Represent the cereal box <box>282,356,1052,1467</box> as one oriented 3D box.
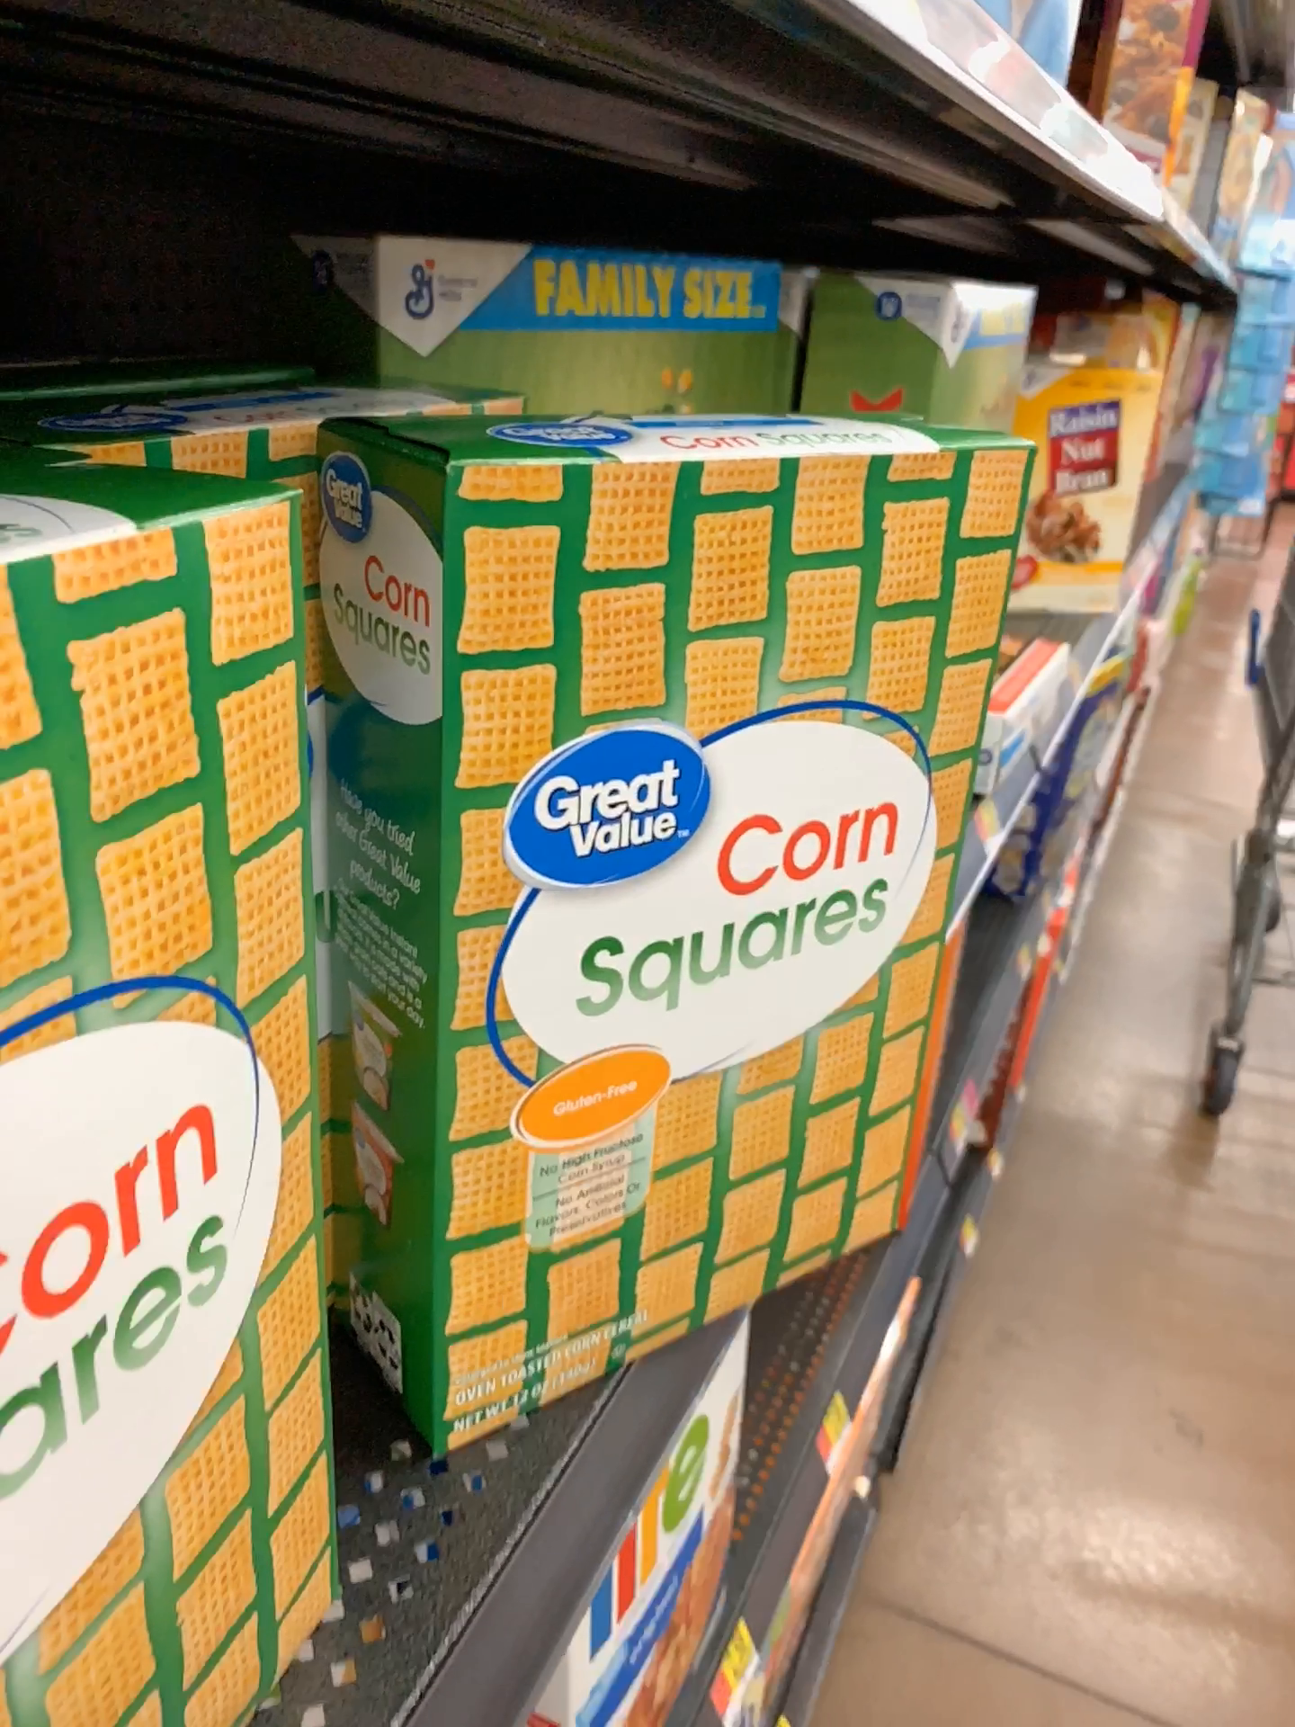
[{"bbox_3d":[0.002,0.007,0.407,0.200,0.289,0.070,-13,29,-36],"label":"cereal box"}]
